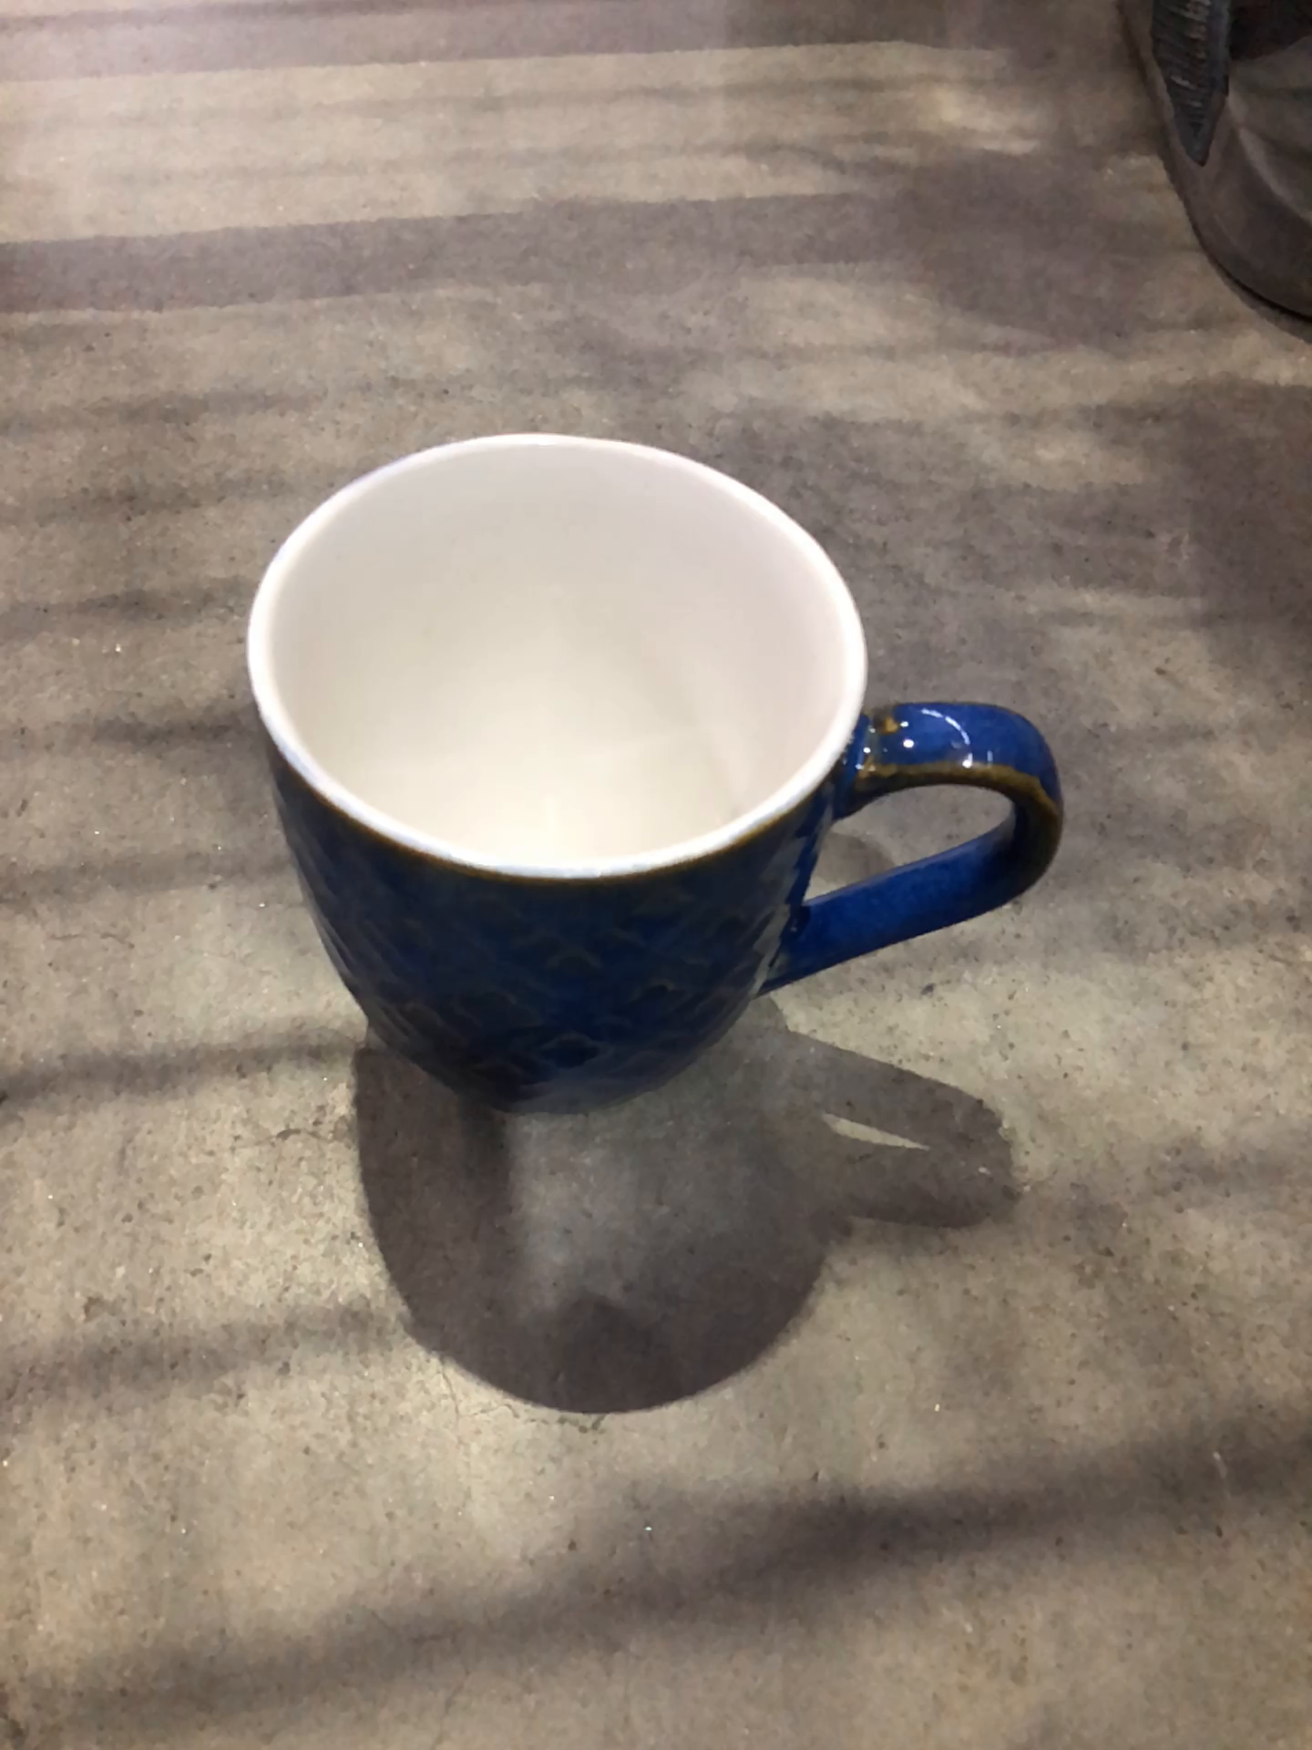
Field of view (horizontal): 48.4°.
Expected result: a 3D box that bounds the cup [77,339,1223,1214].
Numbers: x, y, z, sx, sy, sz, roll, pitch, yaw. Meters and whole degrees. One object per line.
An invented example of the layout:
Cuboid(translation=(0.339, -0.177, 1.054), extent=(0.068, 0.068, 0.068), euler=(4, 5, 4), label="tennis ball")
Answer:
Cuboid(translation=(0.001, -0.012, 0.191), extent=(0.110, 0.070, 0.080), euler=(5, 54, 1), label="cup")
